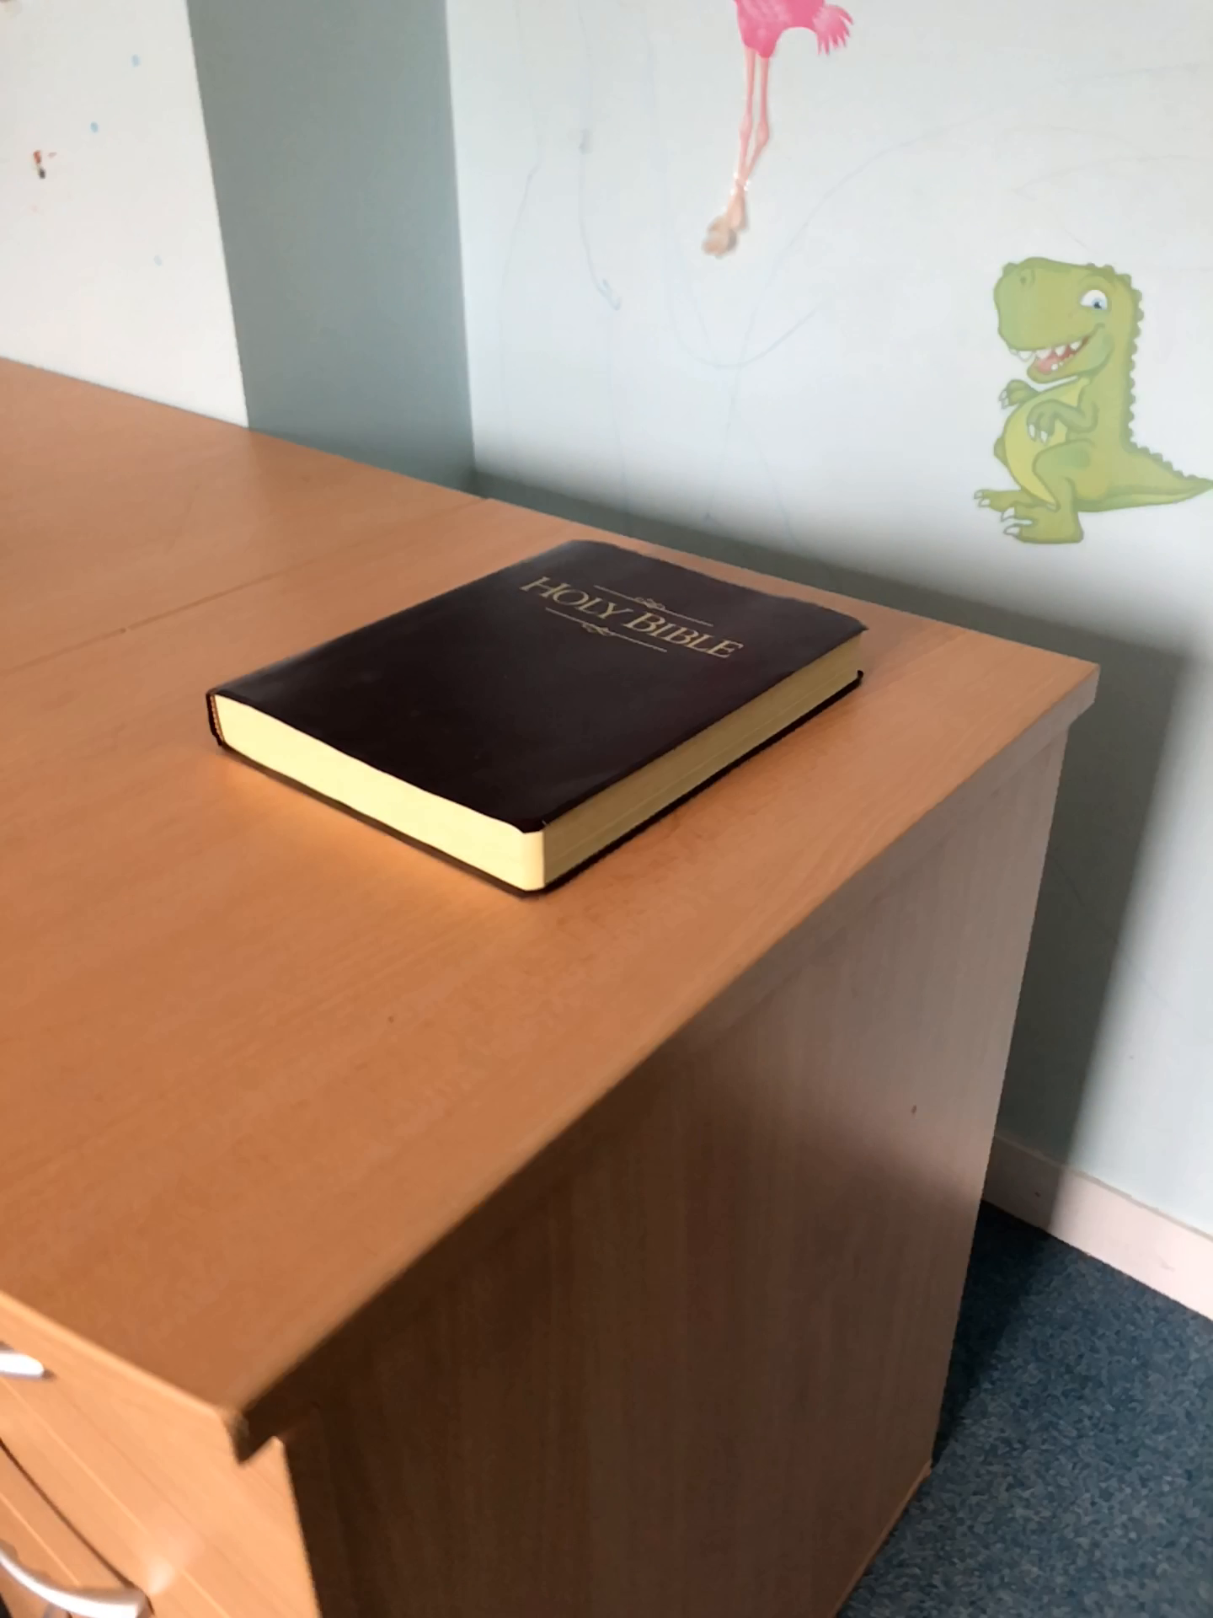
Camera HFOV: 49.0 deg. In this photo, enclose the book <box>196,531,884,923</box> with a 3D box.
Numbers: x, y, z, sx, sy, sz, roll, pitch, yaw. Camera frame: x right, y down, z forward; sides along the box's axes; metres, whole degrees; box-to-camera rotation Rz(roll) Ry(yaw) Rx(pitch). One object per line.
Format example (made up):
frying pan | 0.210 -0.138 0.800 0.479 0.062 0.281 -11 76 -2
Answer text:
book | -0.026 -0.064 0.694 0.223 0.040 0.282 23 39 33
